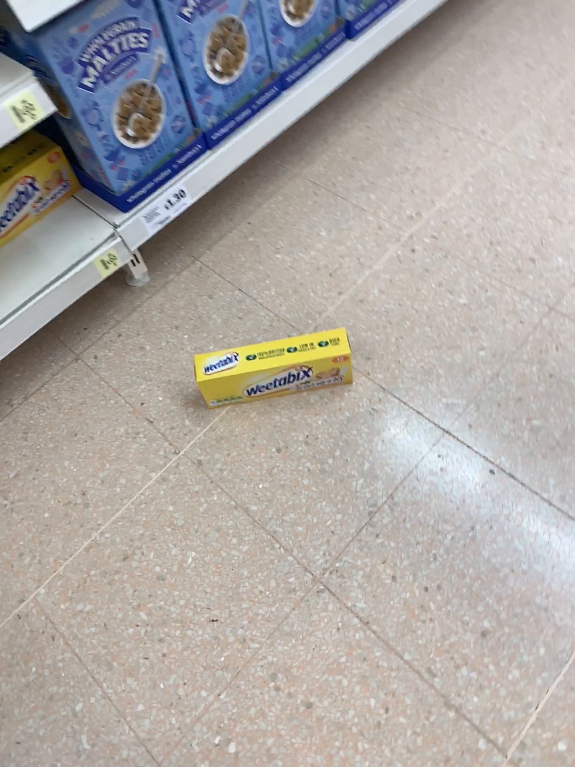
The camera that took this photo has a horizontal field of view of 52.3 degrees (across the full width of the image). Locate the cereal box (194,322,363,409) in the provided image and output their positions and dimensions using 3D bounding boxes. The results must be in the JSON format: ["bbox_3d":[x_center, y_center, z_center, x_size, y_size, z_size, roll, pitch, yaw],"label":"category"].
[{"bbox_3d":[-0.011,-0.027,0.952,0.260,0.099,0.050,-10,58,3],"label":"cereal box"}]
